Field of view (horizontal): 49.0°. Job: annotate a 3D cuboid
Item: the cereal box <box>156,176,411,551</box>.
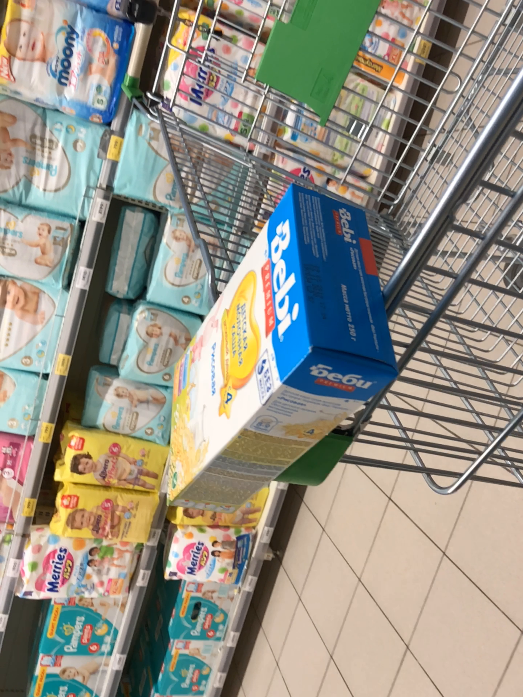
[{"bbox_3d":[-0.002,0.023,0.370,0.211,0.050,0.150,-49,31,46],"label":"cereal box"}]
